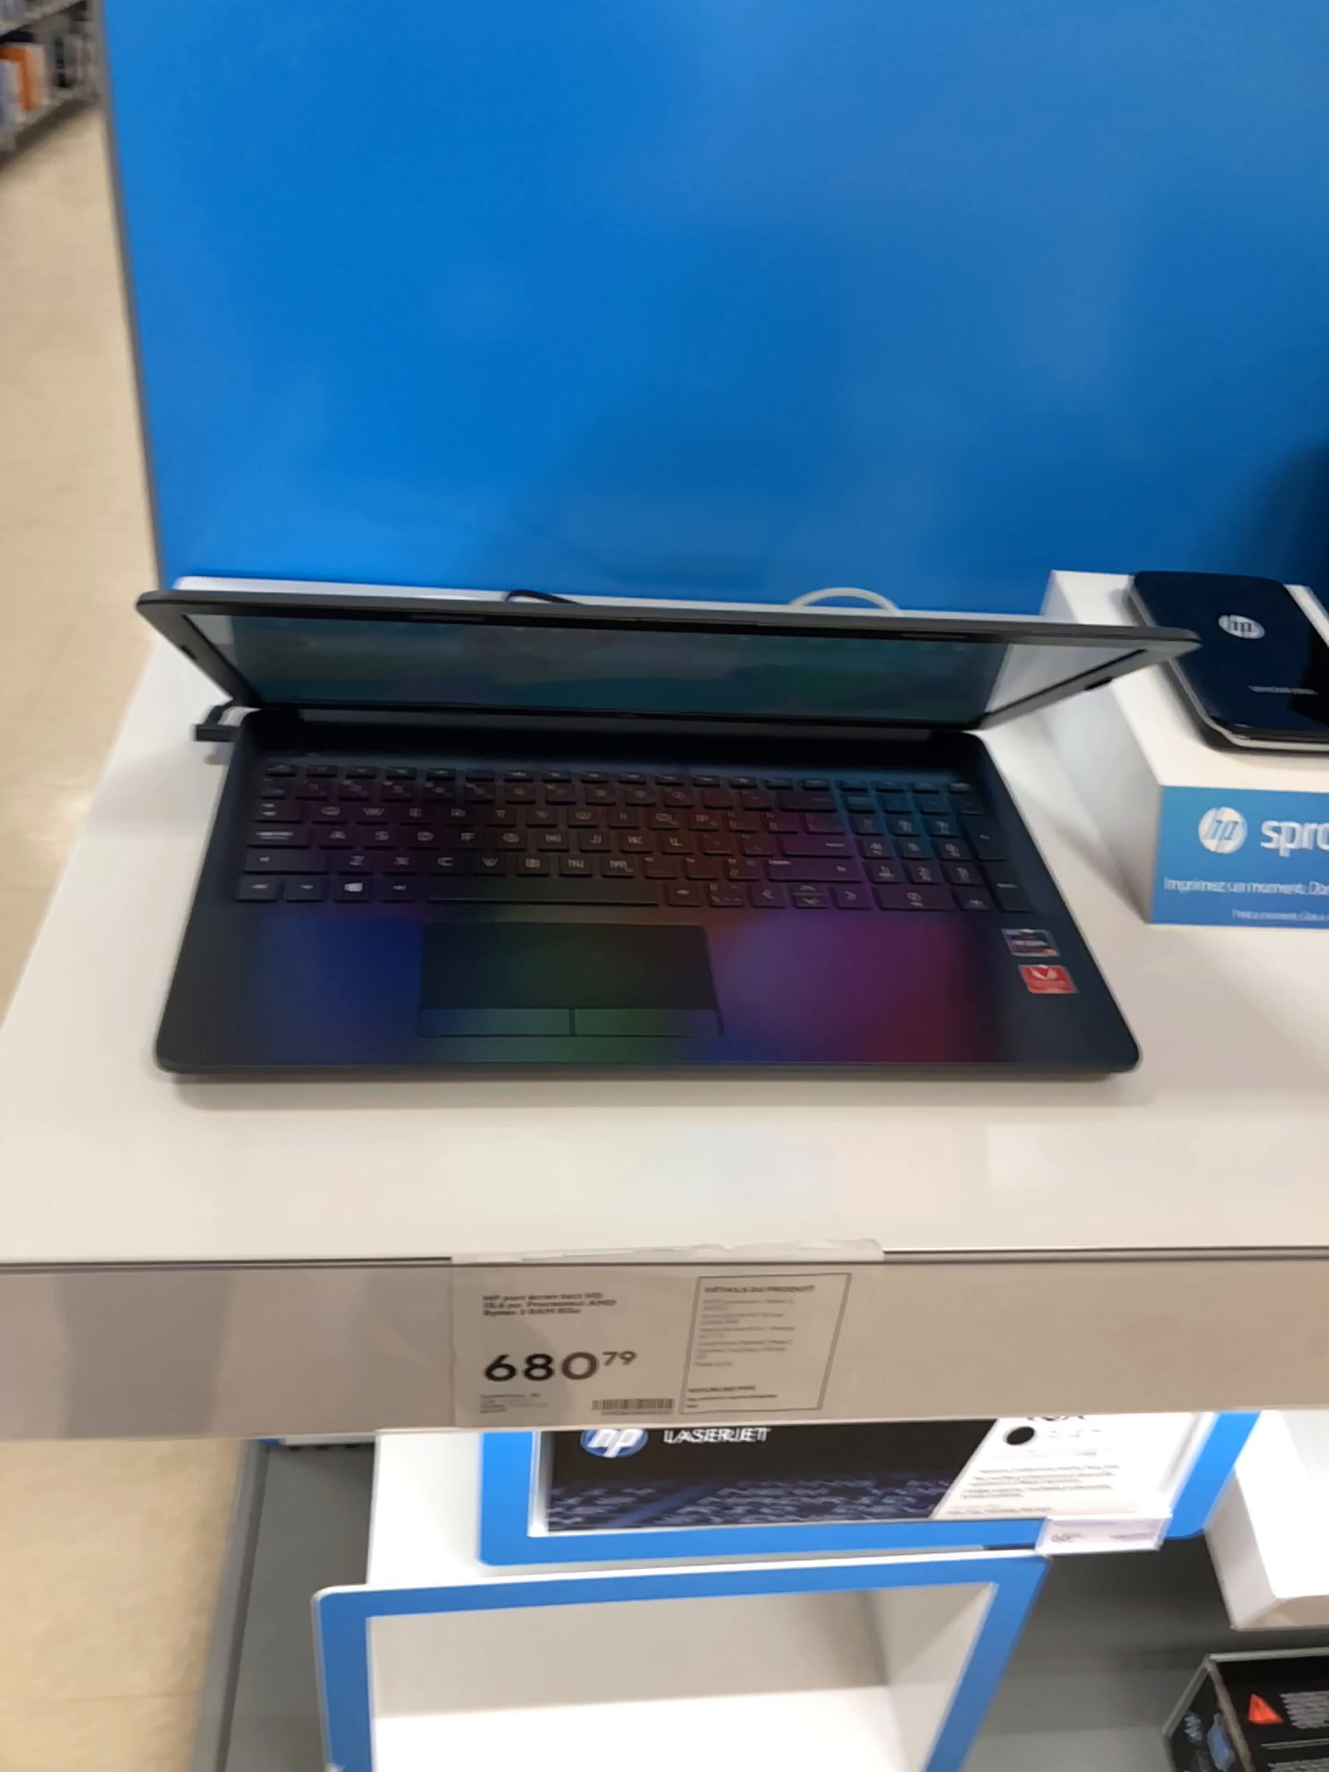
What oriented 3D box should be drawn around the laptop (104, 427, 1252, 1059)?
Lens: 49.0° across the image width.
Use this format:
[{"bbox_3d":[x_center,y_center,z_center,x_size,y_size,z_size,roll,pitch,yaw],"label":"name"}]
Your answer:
[{"bbox_3d":[-0.005,-0.063,0.577,0.355,0.130,0.243,1,35,-10],"label":"laptop"}]
